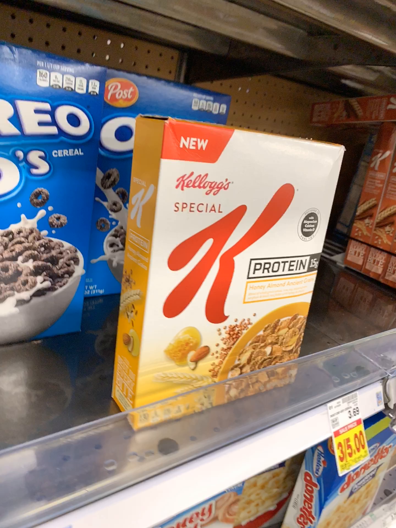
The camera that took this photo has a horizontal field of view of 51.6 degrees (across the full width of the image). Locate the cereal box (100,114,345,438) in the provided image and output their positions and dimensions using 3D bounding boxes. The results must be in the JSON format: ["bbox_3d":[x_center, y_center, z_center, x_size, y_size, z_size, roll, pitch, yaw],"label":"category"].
[{"bbox_3d":[0.023,0.011,0.368,0.200,0.249,0.040,-4,21,-33],"label":"cereal box"}]
